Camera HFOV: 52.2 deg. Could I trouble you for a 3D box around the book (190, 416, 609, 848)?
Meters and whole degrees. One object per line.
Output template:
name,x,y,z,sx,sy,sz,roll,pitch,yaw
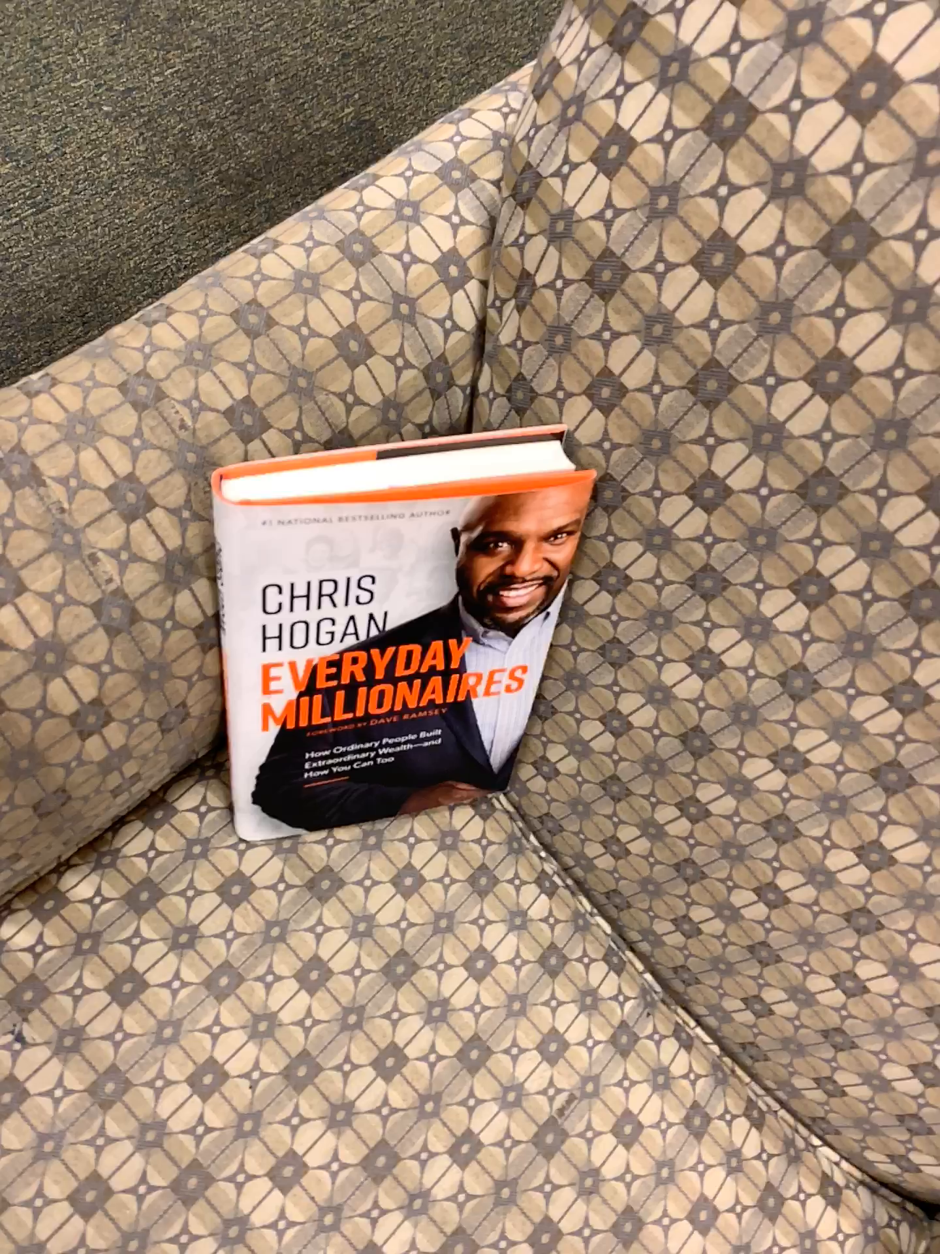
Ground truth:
book,-0.042,0.015,0.464,0.160,0.245,0.038,-6,49,-16
